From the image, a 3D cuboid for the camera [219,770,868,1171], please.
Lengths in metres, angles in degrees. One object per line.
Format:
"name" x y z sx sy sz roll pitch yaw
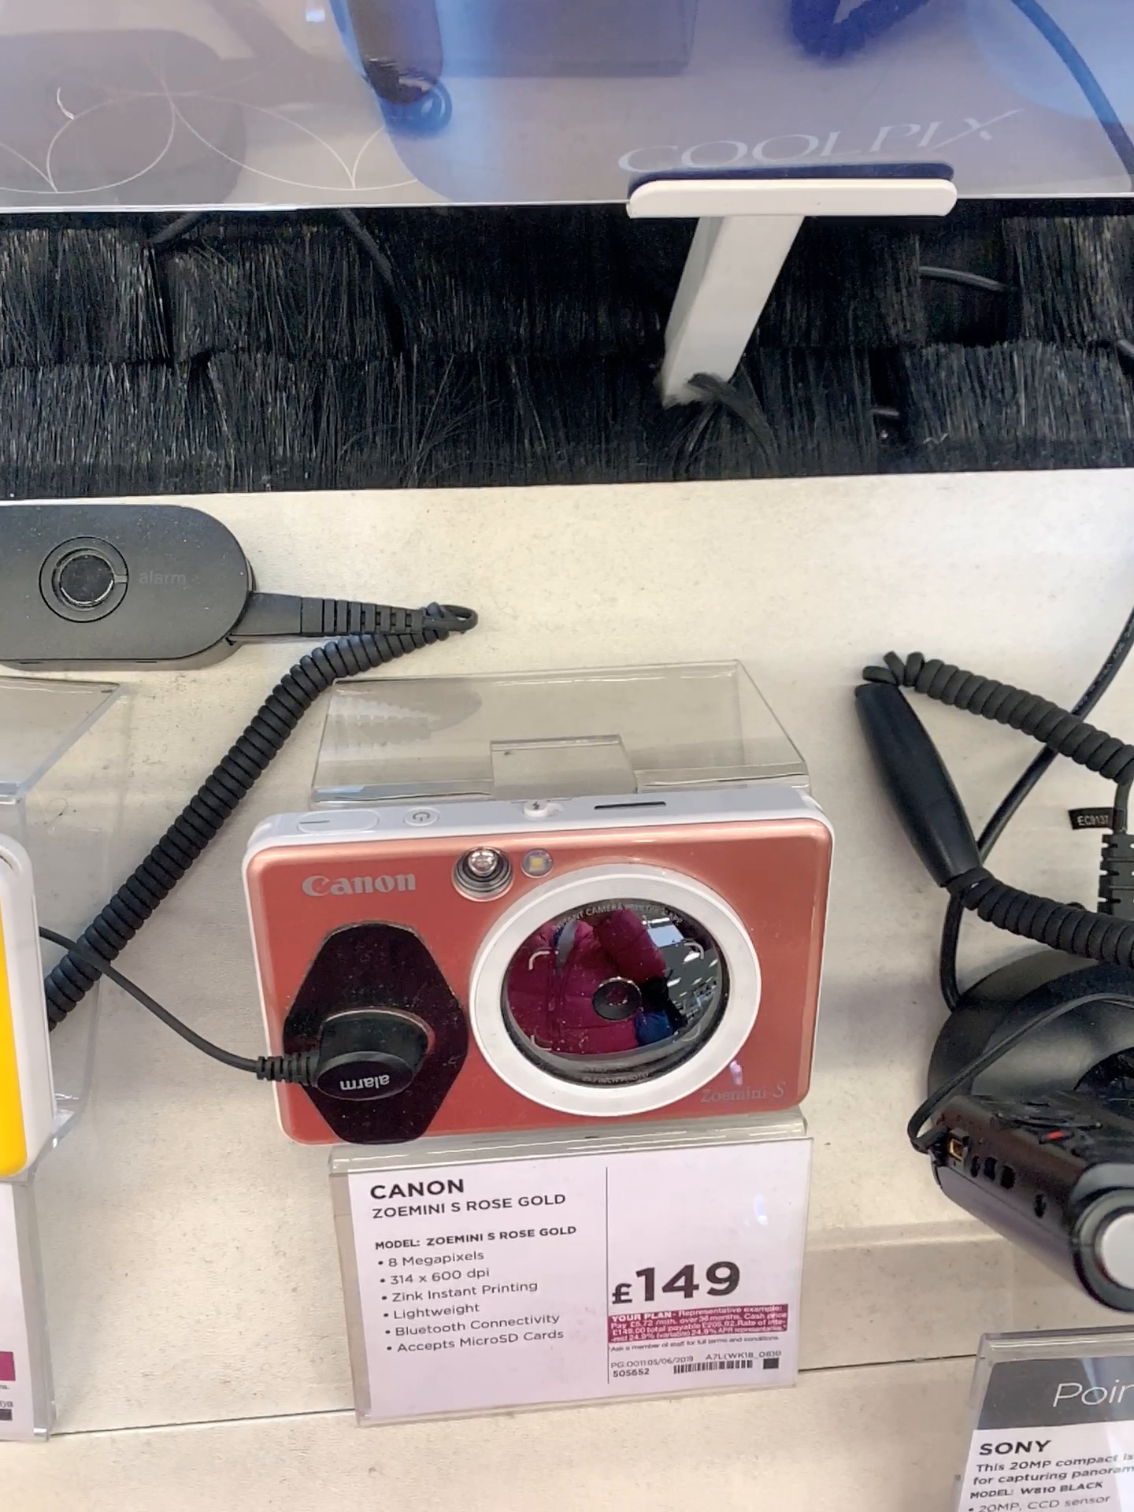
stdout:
"camera" -0.004 0.048 0.257 0.129 0.020 0.083 -2 114 -5
